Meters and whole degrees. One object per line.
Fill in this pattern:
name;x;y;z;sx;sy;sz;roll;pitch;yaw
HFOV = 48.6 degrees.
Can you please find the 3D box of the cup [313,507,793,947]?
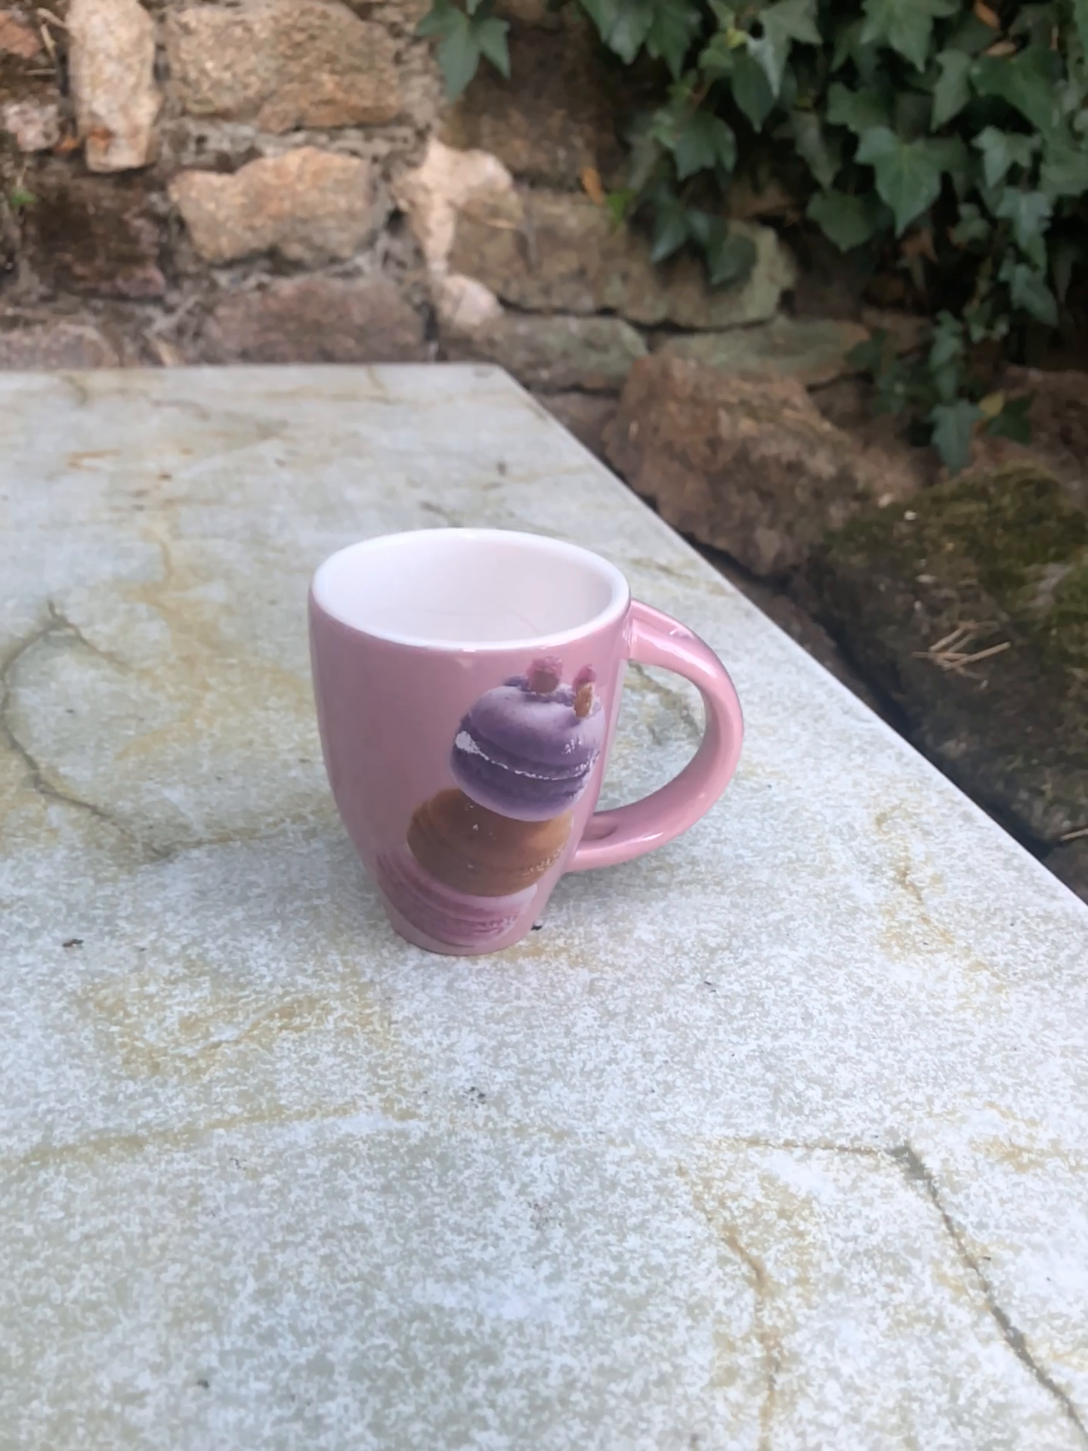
cup;0.000;-0.002;0.301;0.099;0.080;0.080;1;29;-3
